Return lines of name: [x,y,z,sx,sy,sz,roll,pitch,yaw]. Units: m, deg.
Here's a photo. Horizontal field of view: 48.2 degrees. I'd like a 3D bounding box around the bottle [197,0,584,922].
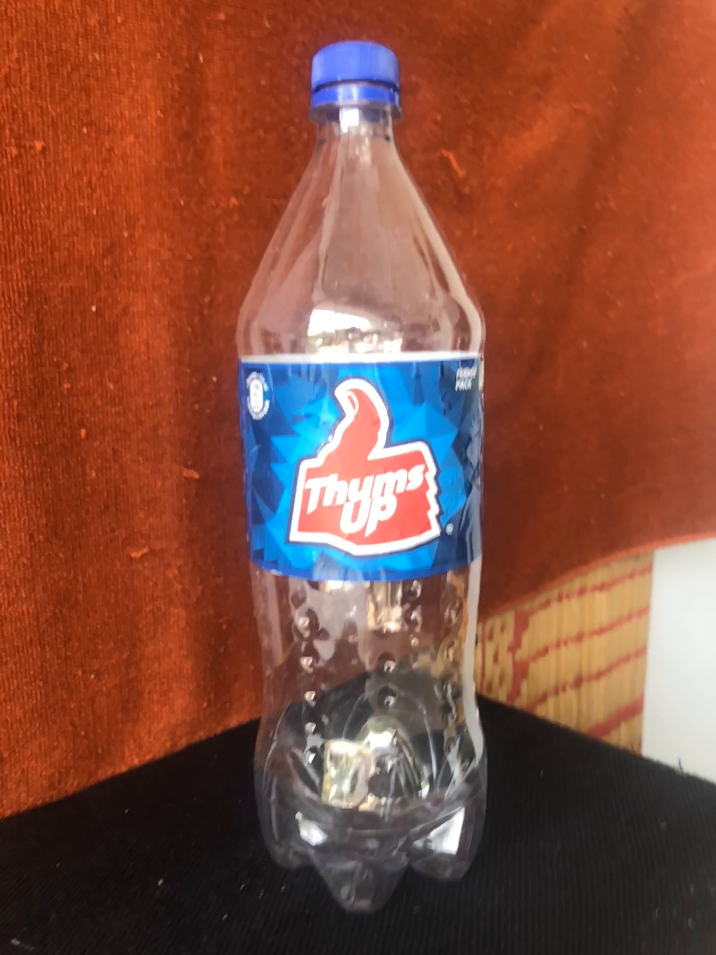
bottle: [0.005,-0.009,0.276,0.100,0.289,0.090,1,10,-1]
